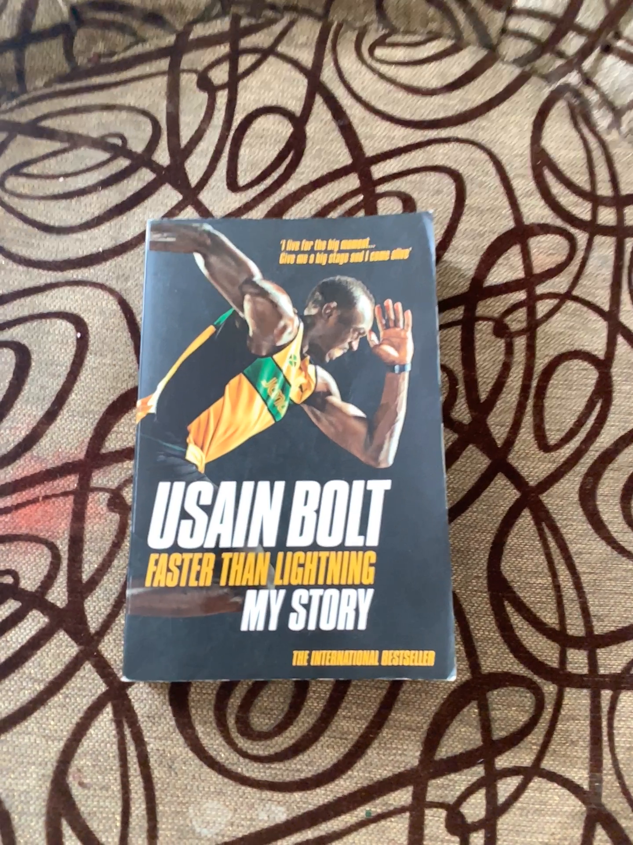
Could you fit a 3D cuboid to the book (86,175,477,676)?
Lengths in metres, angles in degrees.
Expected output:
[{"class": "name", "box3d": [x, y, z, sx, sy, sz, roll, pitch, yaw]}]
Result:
[{"class": "book", "box3d": [-0.013, -0.004, 0.270, 0.140, 0.030, 0.200, 0, 77, 0]}]
